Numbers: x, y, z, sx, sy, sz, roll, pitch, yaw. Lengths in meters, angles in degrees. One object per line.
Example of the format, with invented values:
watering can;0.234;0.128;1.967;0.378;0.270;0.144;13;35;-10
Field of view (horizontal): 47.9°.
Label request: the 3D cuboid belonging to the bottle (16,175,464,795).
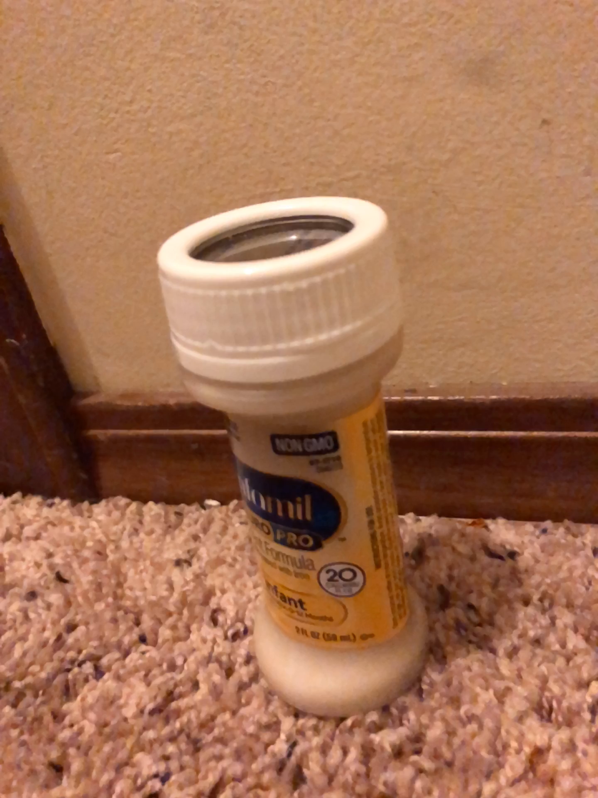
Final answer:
bottle;-0.005;0.017;0.142;0.050;0.110;0.050;-9;31;6
